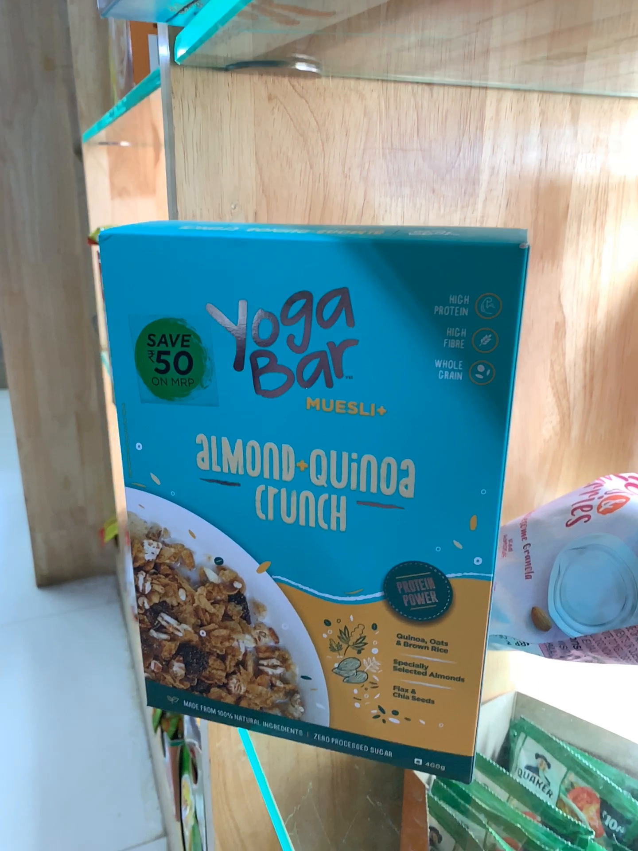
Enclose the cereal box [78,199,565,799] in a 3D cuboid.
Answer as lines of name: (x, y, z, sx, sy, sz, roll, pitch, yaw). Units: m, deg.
cereal box: (0.000, 0.024, 0.272, 0.160, 0.219, 0.060, 6, 19, 15)
